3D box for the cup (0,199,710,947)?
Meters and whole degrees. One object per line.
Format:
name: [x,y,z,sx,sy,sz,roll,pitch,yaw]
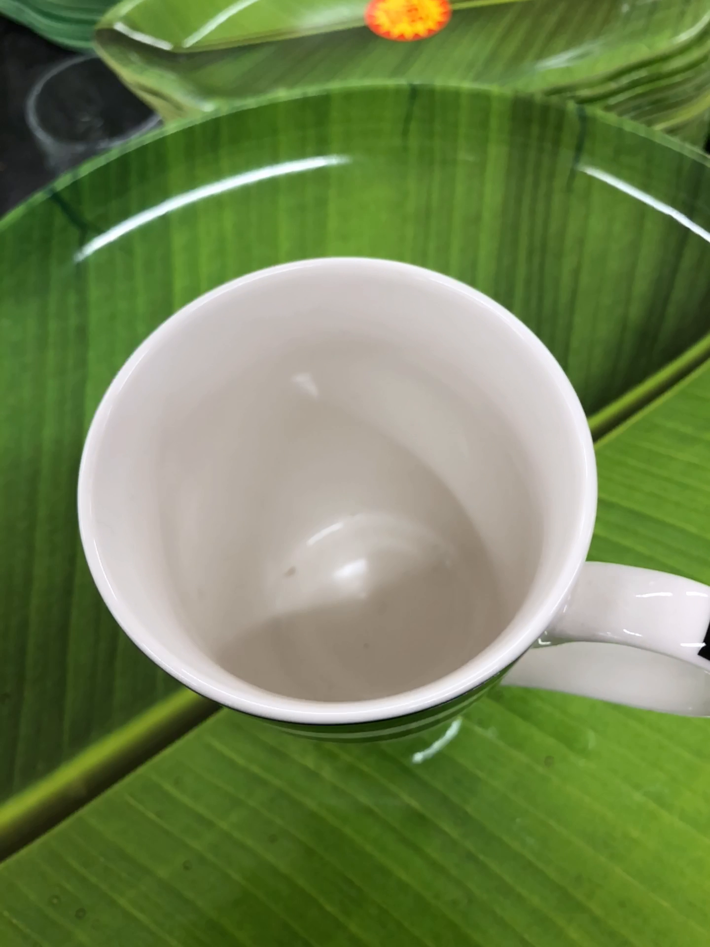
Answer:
cup: [0.015,0.021,0.153,0.130,0.080,0.080,17,66,12]
